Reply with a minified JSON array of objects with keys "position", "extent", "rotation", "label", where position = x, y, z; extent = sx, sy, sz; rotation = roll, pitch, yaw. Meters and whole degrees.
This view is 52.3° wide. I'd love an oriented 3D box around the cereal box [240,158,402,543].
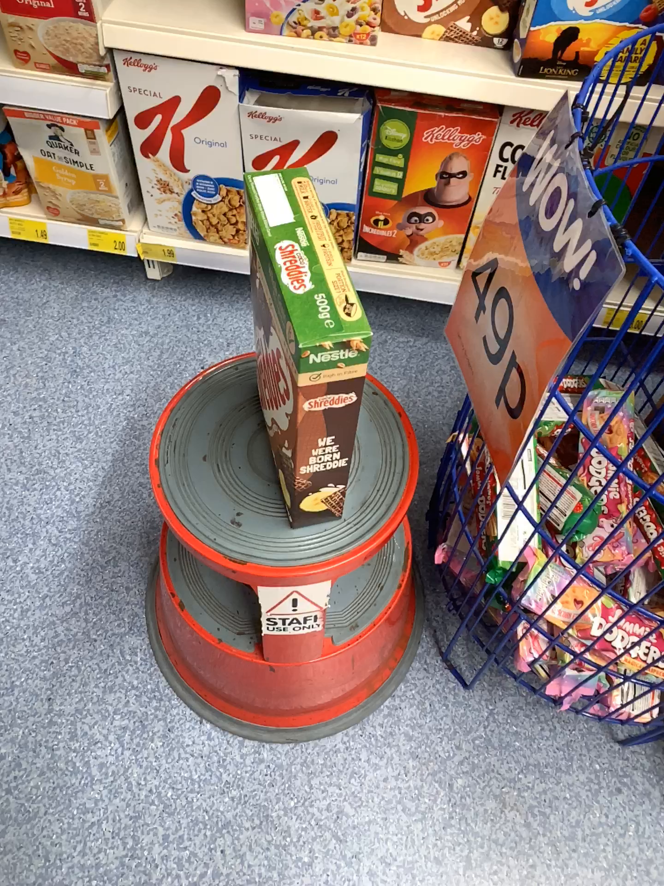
[{"position":[-0.022,-0.067,0.606],"extent":[0.070,0.278,0.201],"rotation":[-10,58,-11],"label":"cereal box"}]
